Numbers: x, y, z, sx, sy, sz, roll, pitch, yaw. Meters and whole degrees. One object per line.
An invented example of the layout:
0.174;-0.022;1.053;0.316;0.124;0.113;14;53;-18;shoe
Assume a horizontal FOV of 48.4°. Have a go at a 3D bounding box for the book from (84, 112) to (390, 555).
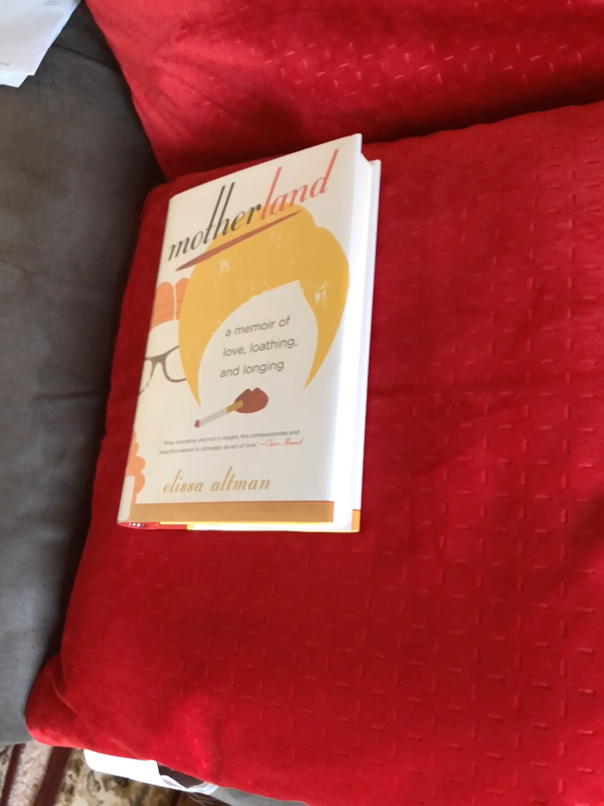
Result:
-0.032;-0.032;0.352;0.141;0.040;0.210;-5;70;30;book
